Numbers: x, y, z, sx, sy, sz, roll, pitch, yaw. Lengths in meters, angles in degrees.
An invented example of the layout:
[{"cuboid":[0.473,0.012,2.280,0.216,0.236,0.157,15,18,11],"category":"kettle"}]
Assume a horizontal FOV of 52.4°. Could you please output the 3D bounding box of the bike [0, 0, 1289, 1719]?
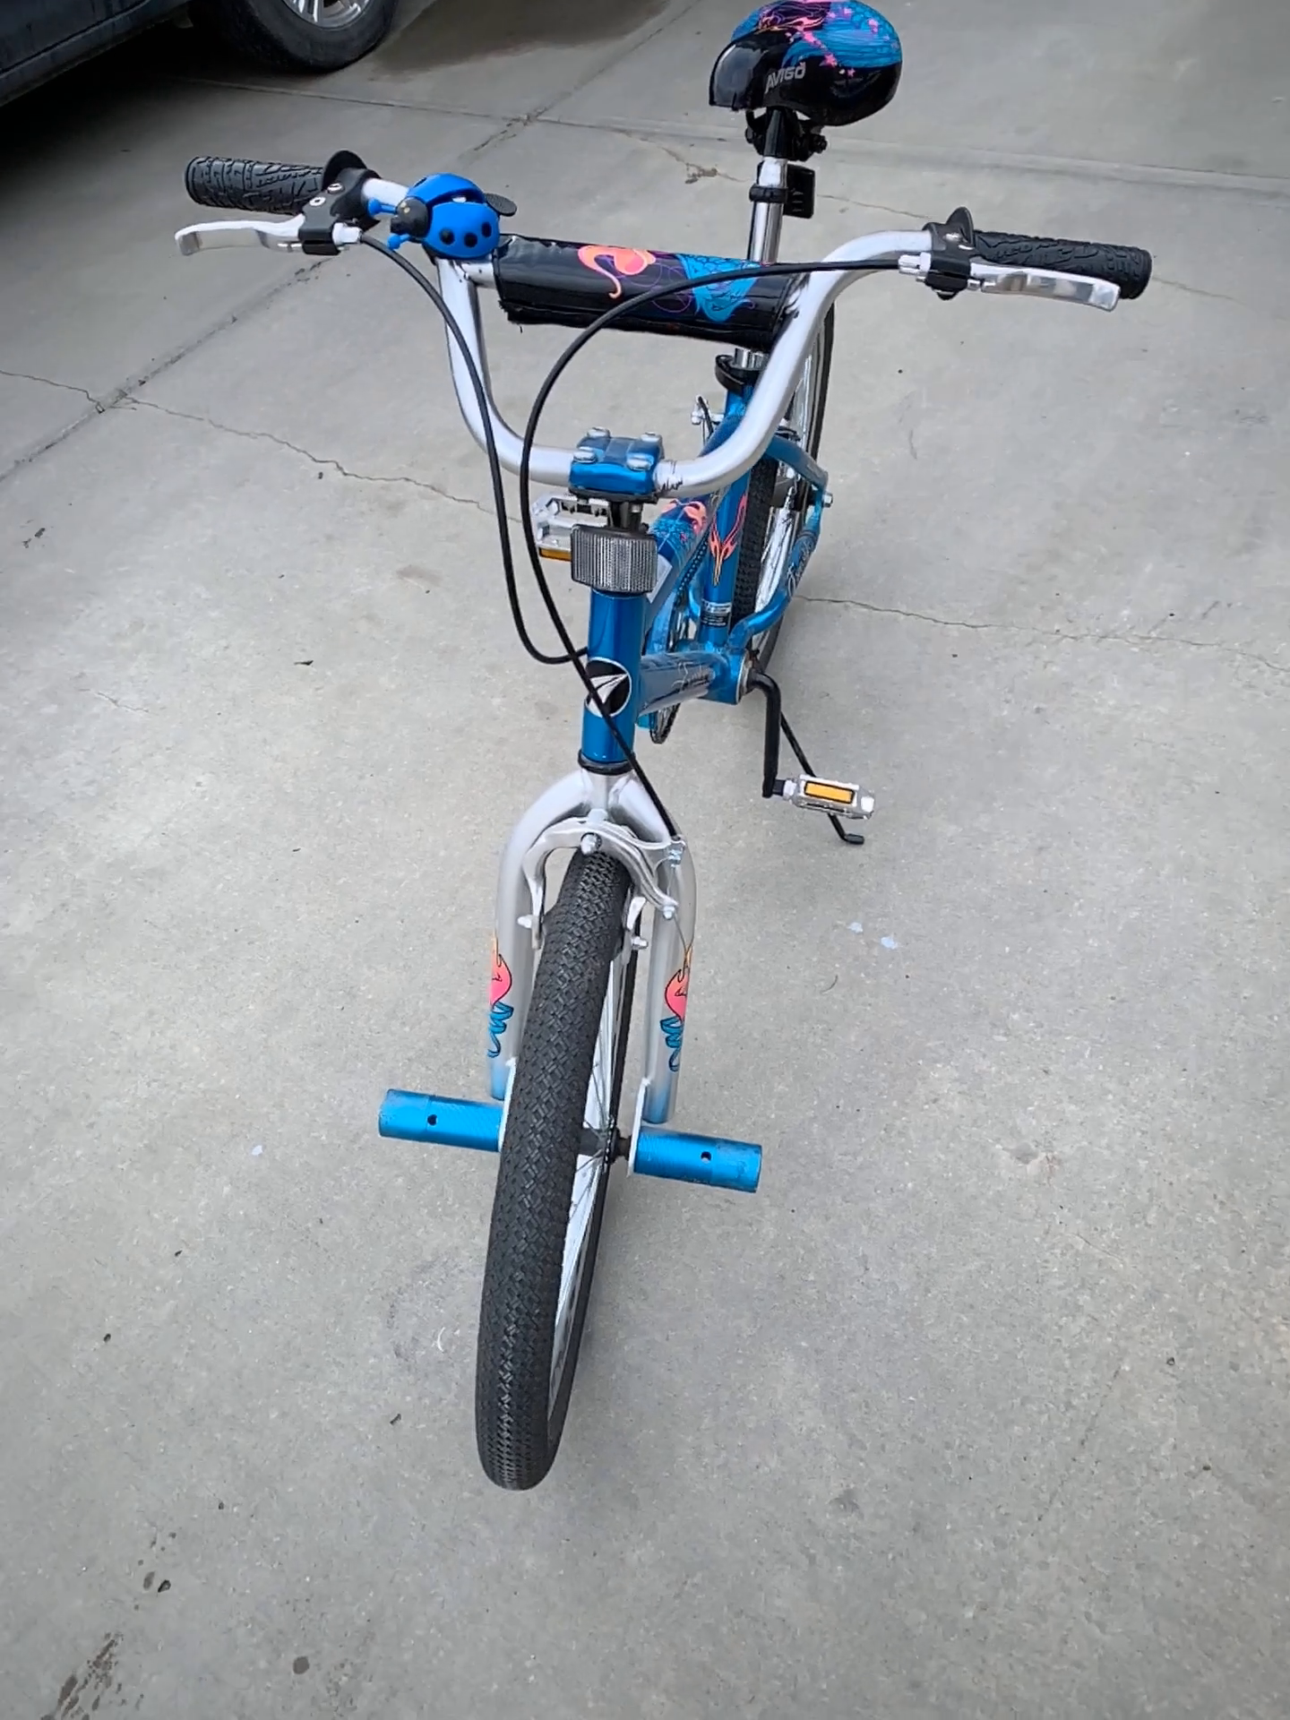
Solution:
[{"cuboid":[0.131,-0.222,1.149,0.681,0.837,1.391,4,46,13],"category":"bike"}]
